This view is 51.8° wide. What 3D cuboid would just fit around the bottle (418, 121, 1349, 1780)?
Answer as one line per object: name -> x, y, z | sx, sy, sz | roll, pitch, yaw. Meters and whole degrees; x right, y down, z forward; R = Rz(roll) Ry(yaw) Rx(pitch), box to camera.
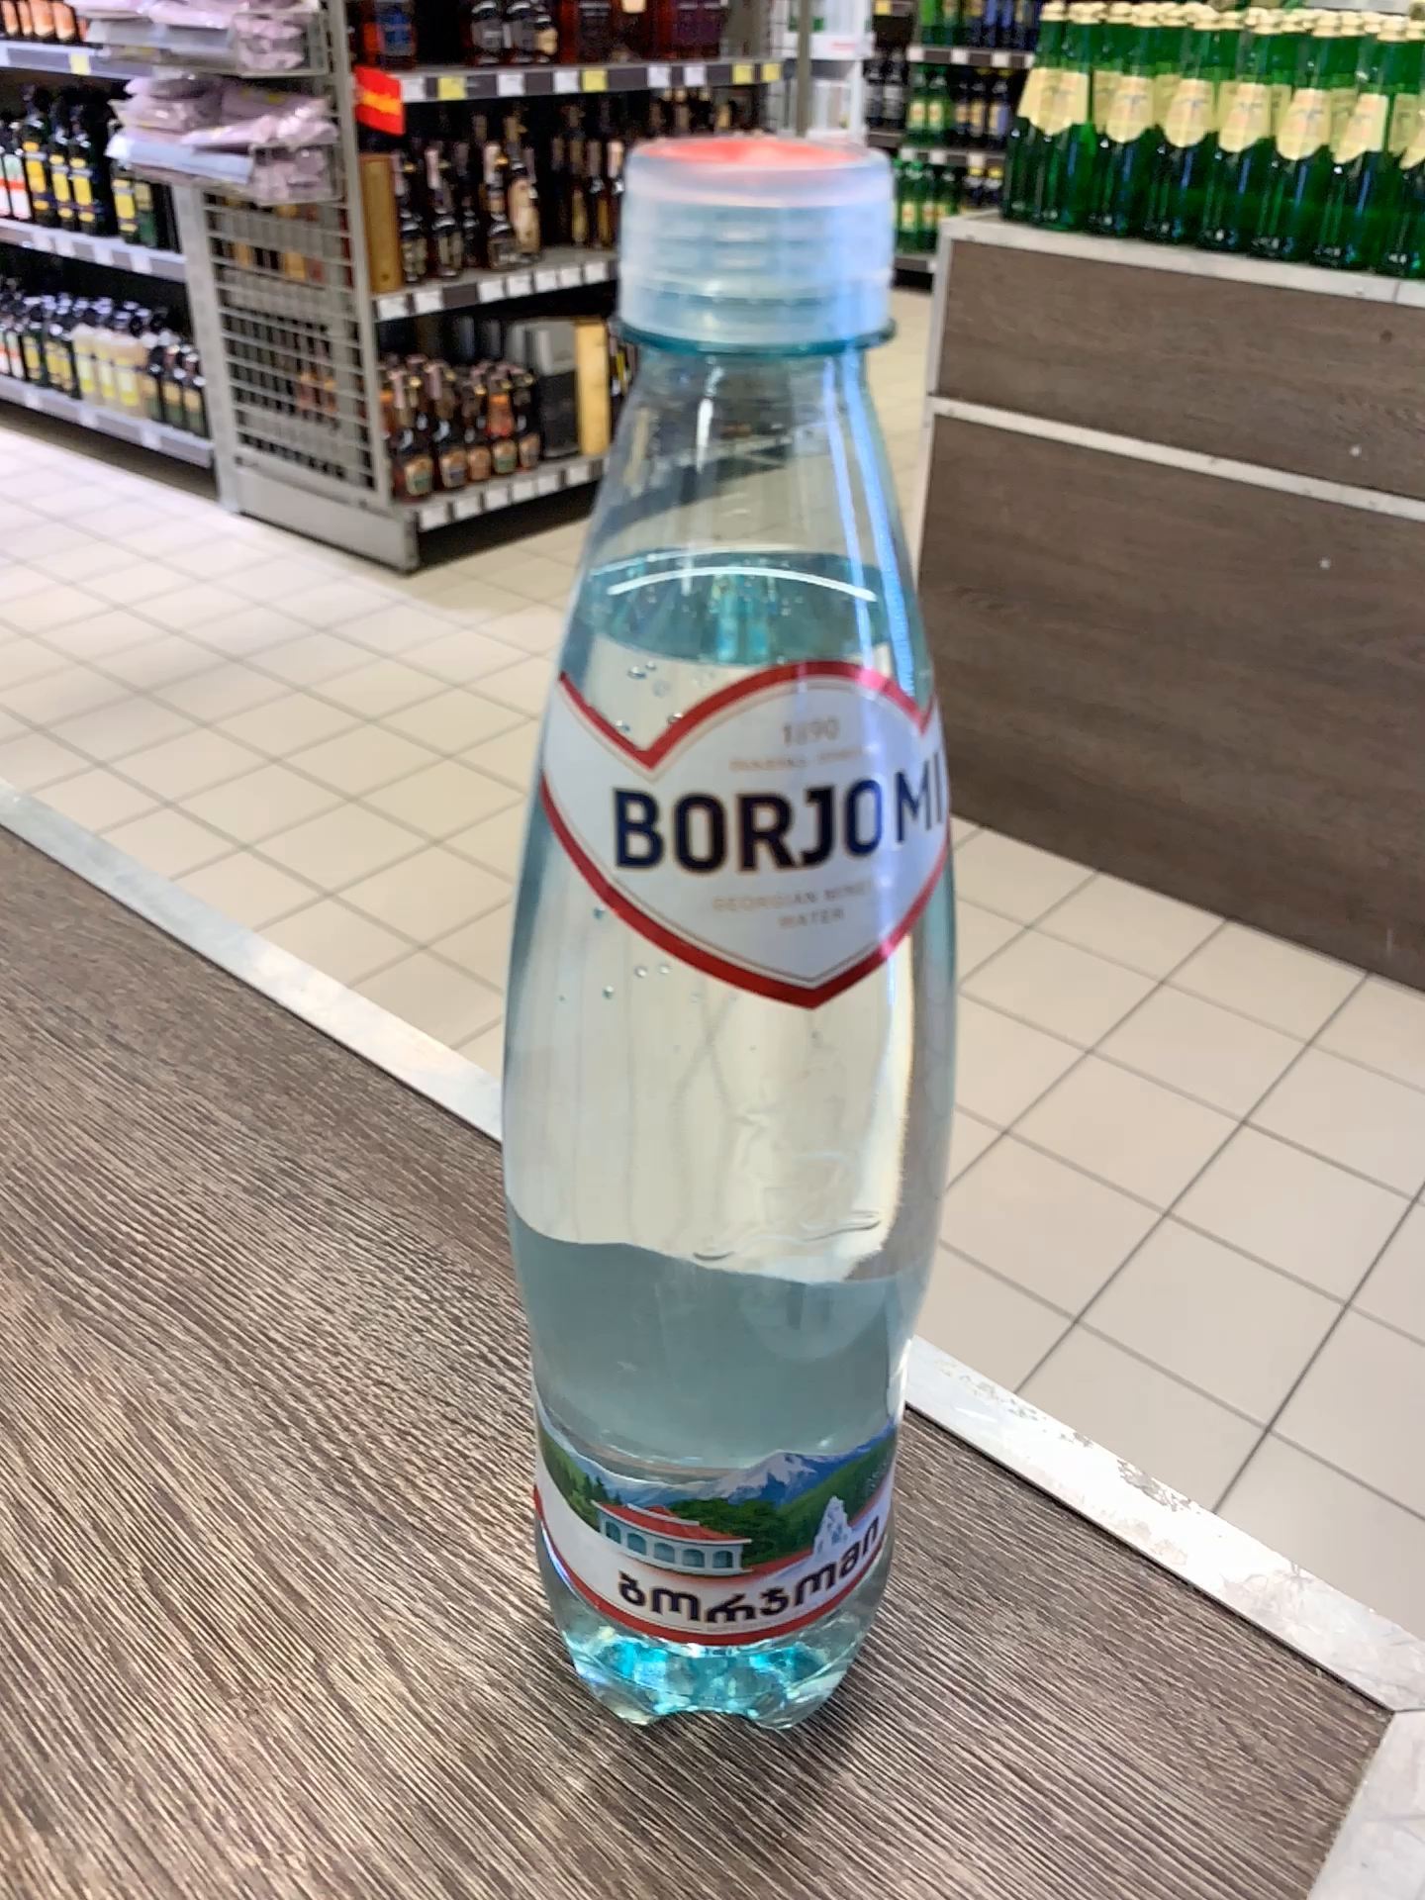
bottle -> 0.008, 0.018, 0.217 | 0.080, 0.239, 0.070 | -4, 34, -9
